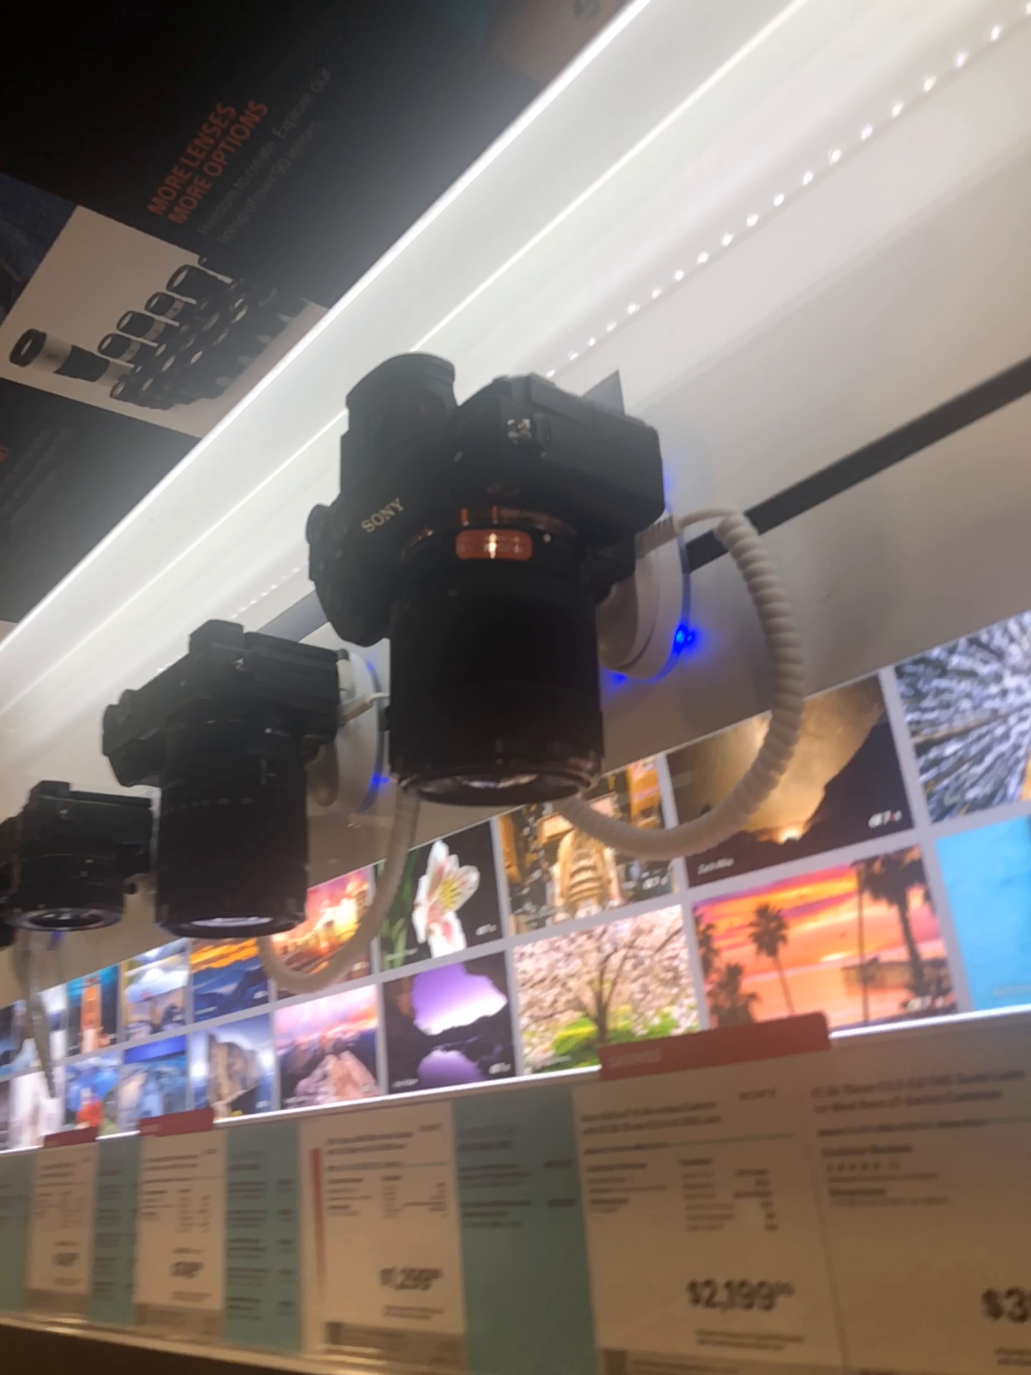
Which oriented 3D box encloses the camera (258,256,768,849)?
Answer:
[{"bbox_3d":[-0.010,-0.030,0.377,0.141,0.089,0.140,-21,66,45],"label":"camera"}]
